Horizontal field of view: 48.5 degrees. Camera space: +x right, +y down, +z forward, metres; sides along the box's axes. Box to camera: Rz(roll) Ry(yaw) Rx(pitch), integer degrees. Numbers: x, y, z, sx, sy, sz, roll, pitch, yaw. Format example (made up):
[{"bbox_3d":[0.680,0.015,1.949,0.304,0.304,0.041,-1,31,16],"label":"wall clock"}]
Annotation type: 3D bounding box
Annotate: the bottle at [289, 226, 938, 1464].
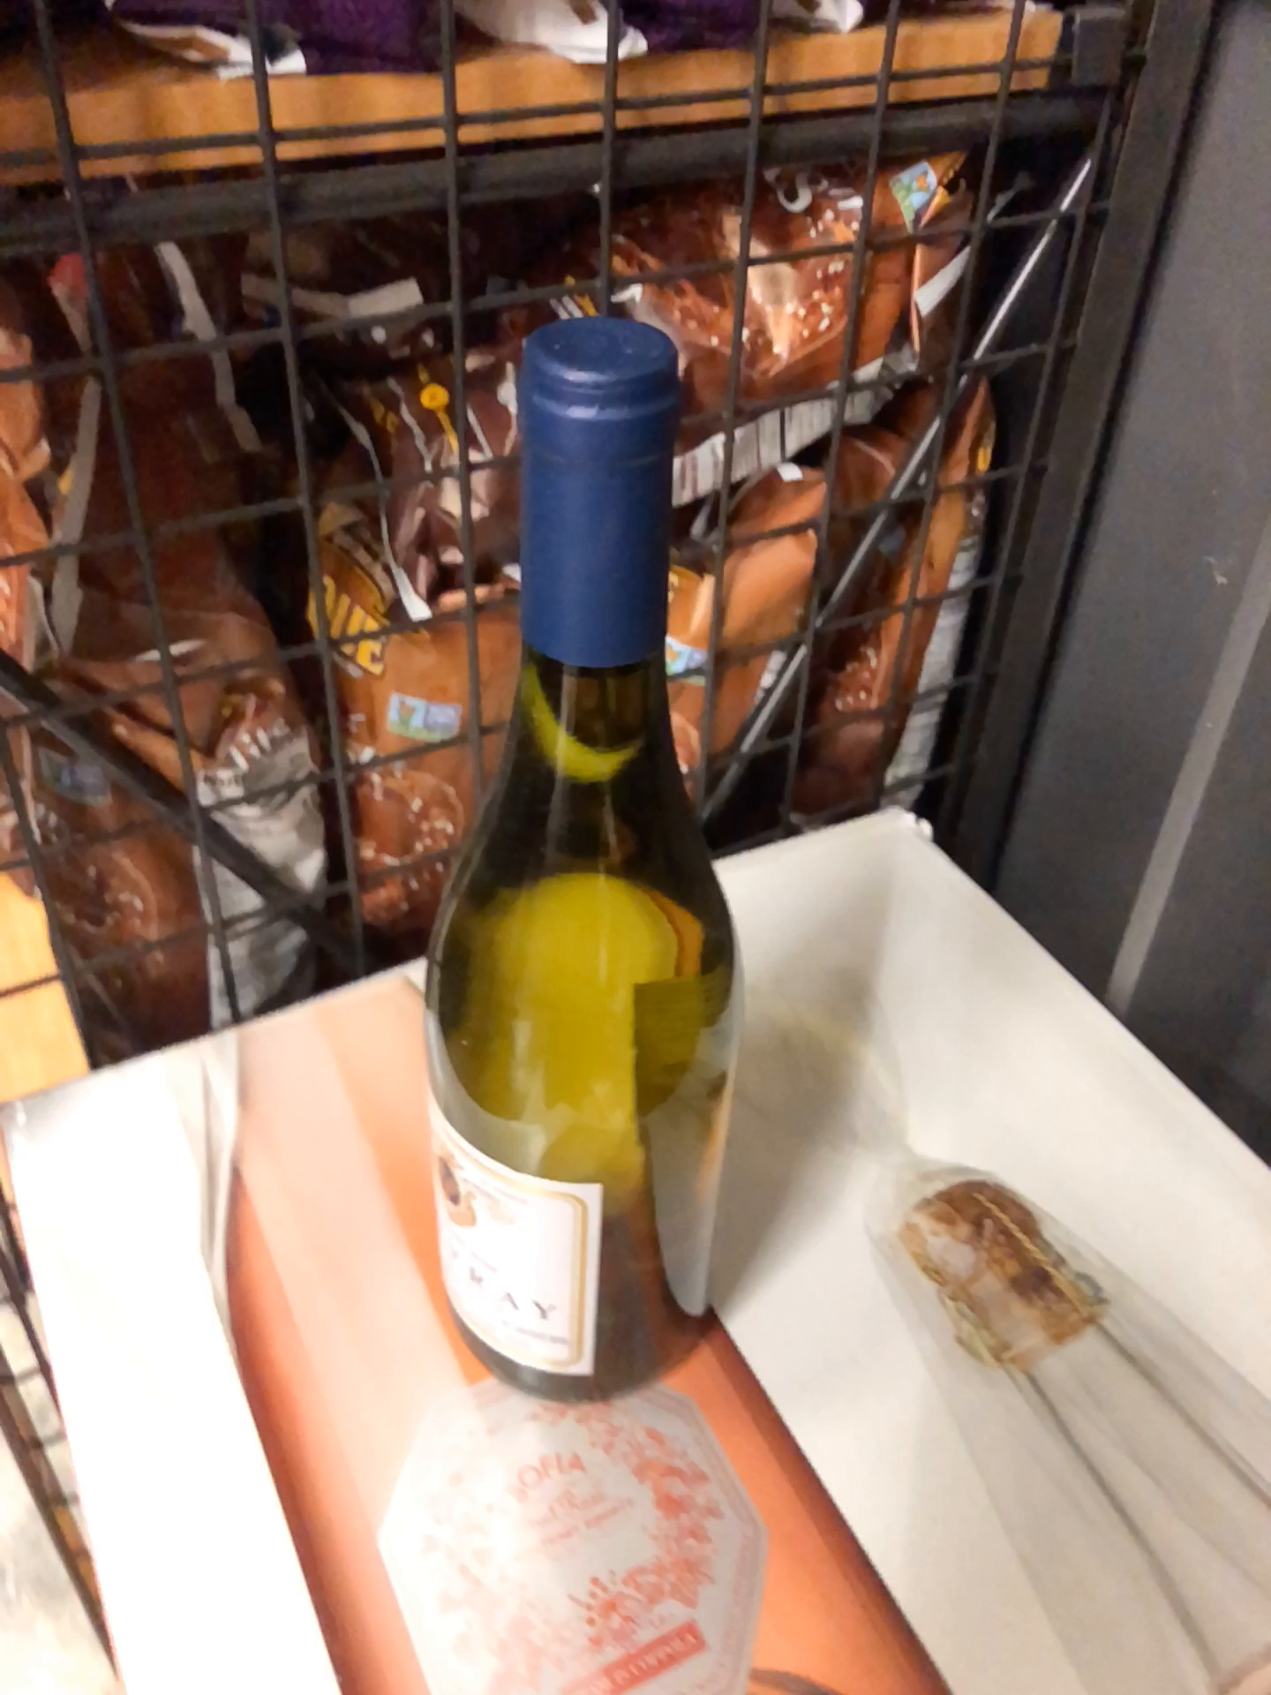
[{"bbox_3d":[-0.012,0.018,0.331,0.083,0.281,0.085,2,38,-1],"label":"bottle"}]
